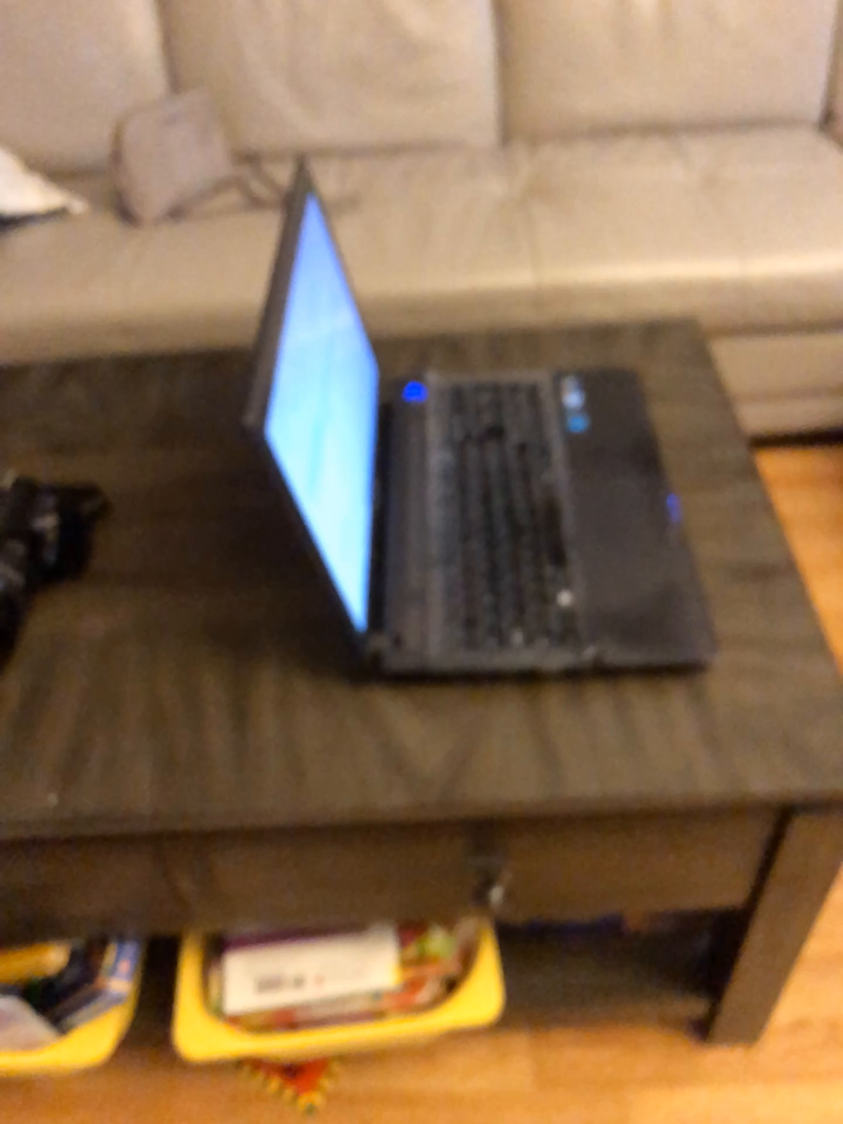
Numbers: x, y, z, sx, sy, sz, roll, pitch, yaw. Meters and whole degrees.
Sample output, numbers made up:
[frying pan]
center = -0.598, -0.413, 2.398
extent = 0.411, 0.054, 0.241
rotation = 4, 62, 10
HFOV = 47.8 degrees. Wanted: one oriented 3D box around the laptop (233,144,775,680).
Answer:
[laptop]
center = 0.053, -0.133, 0.755
extent = 0.308, 0.231, 0.369
rotation = -4, 44, 2
